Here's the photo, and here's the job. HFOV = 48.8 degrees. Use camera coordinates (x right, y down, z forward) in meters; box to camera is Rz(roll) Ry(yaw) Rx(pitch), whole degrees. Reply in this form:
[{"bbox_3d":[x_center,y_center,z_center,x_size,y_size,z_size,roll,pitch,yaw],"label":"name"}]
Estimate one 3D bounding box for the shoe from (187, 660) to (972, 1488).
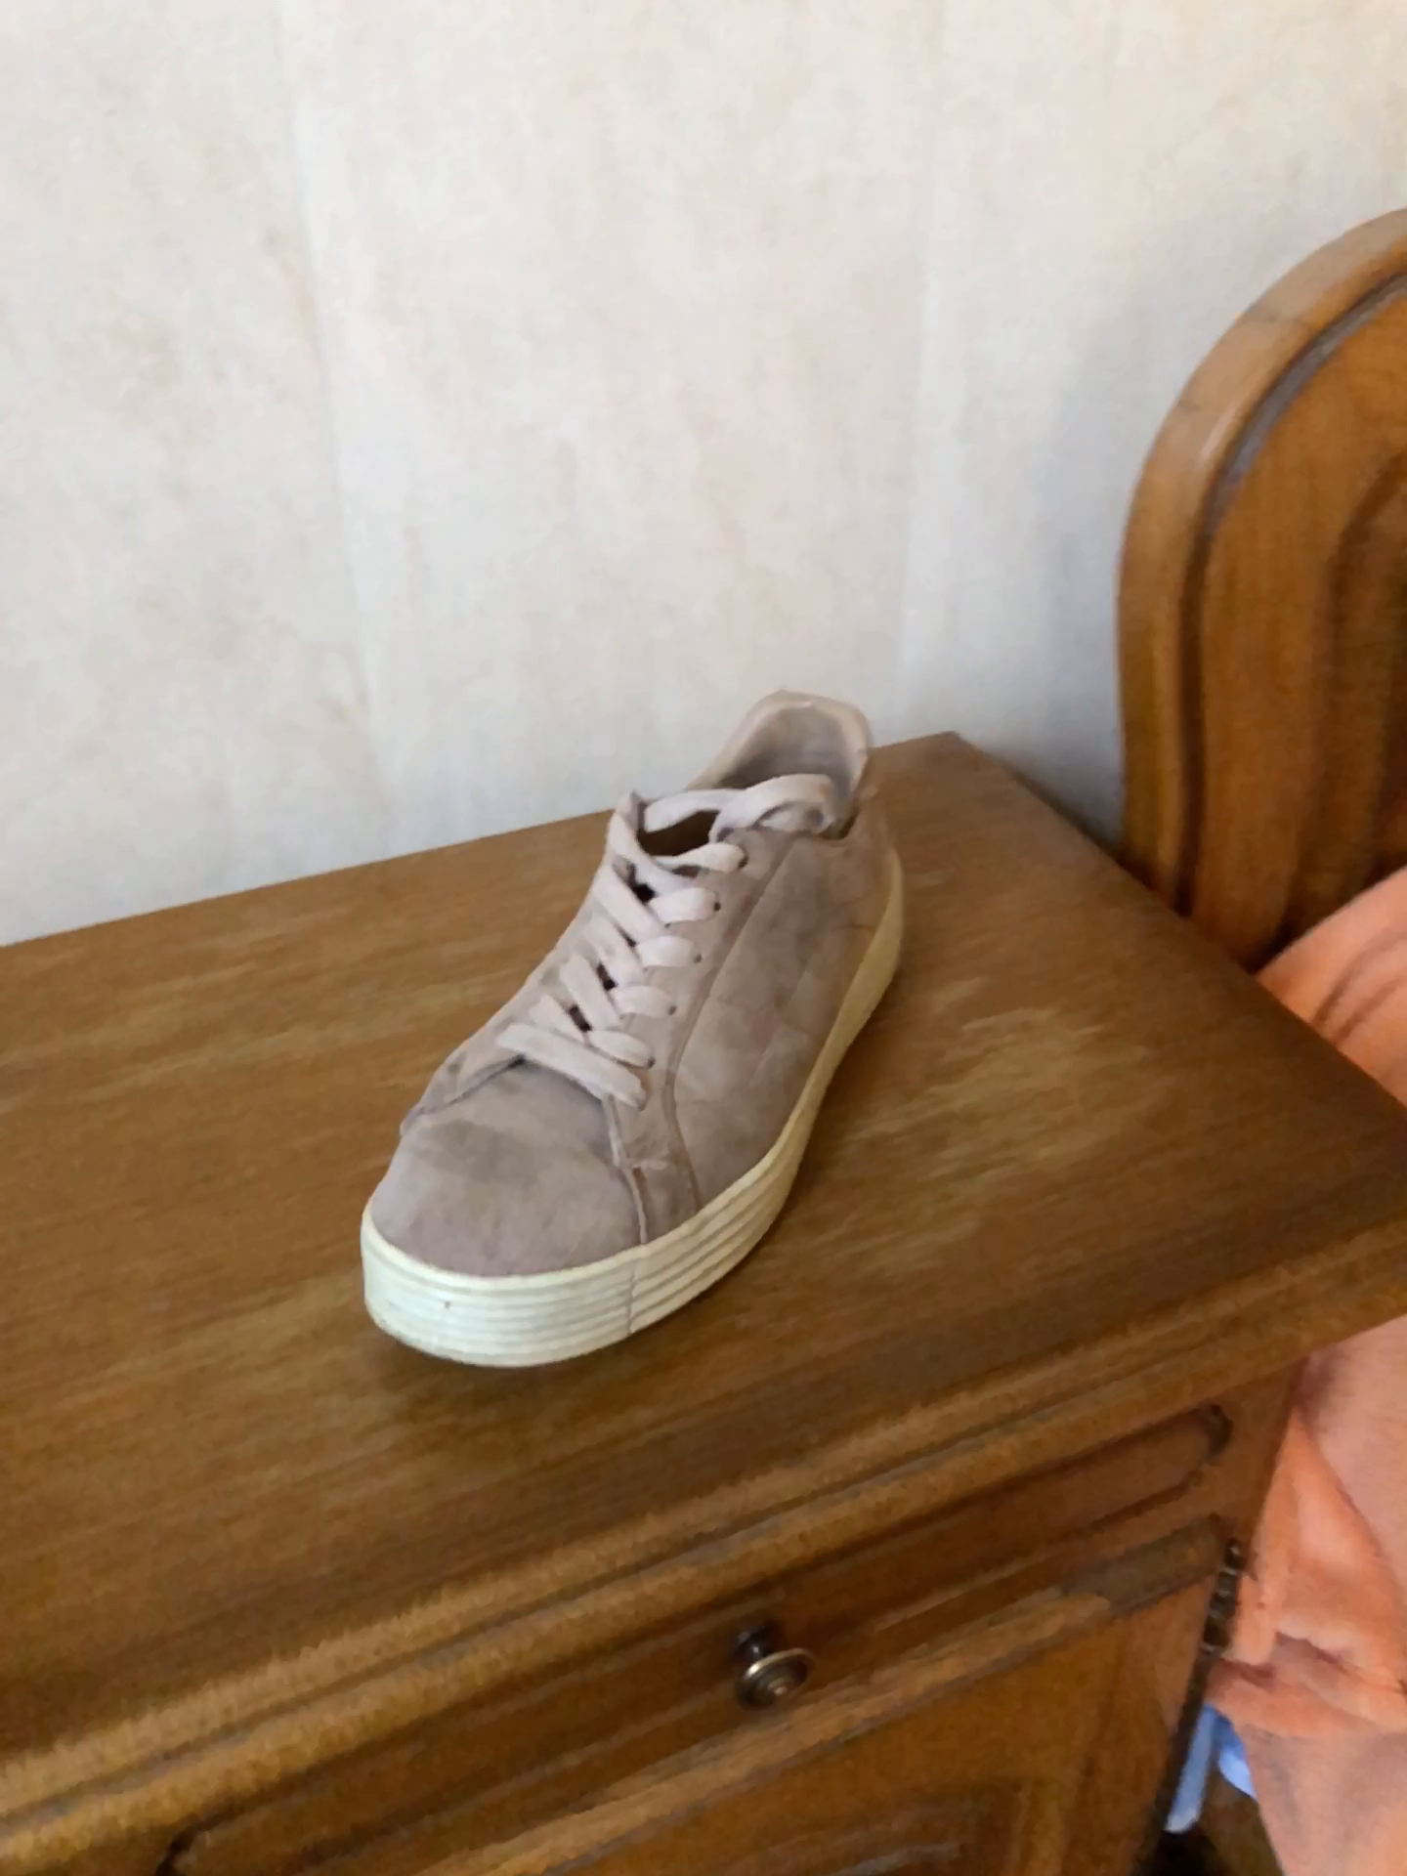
[{"bbox_3d":[-0.015,0.016,0.466,0.110,0.089,0.262,14,36,21],"label":"shoe"}]
